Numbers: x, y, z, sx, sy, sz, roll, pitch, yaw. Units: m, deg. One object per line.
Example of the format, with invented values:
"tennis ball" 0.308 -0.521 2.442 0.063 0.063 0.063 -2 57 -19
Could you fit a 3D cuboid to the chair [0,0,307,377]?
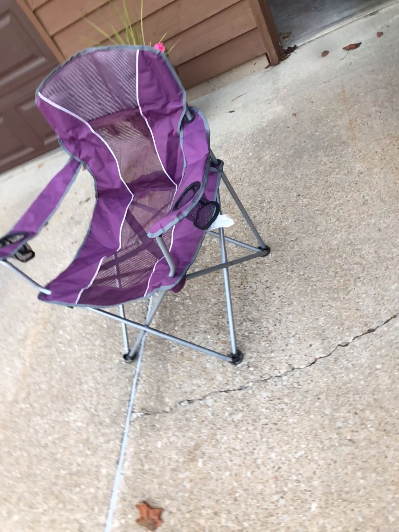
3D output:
"chair" -0.197 -0.183 1.447 0.764 0.877 0.709 -7 46 32
